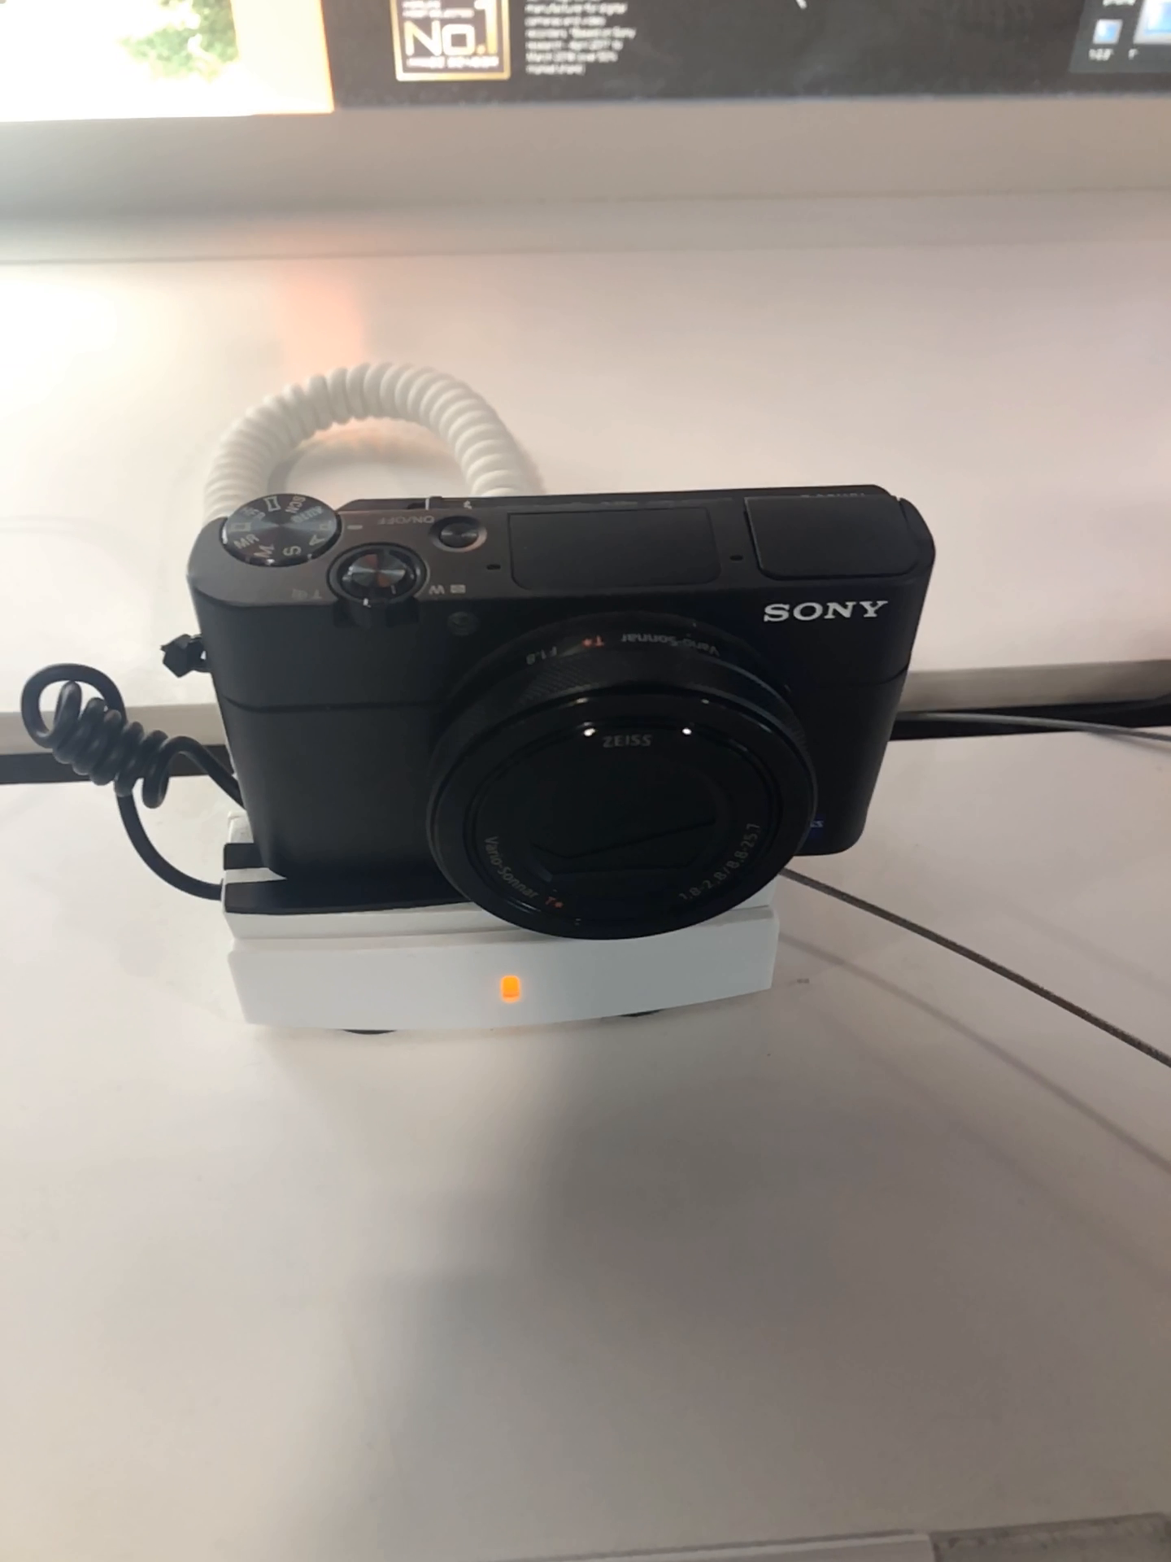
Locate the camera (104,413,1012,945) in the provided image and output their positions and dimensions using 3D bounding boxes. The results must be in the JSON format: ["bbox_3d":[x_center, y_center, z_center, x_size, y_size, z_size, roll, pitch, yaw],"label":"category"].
[{"bbox_3d":[-0.003,-0.012,0.178,0.101,0.063,0.032,-3,46,-3],"label":"camera"}]
